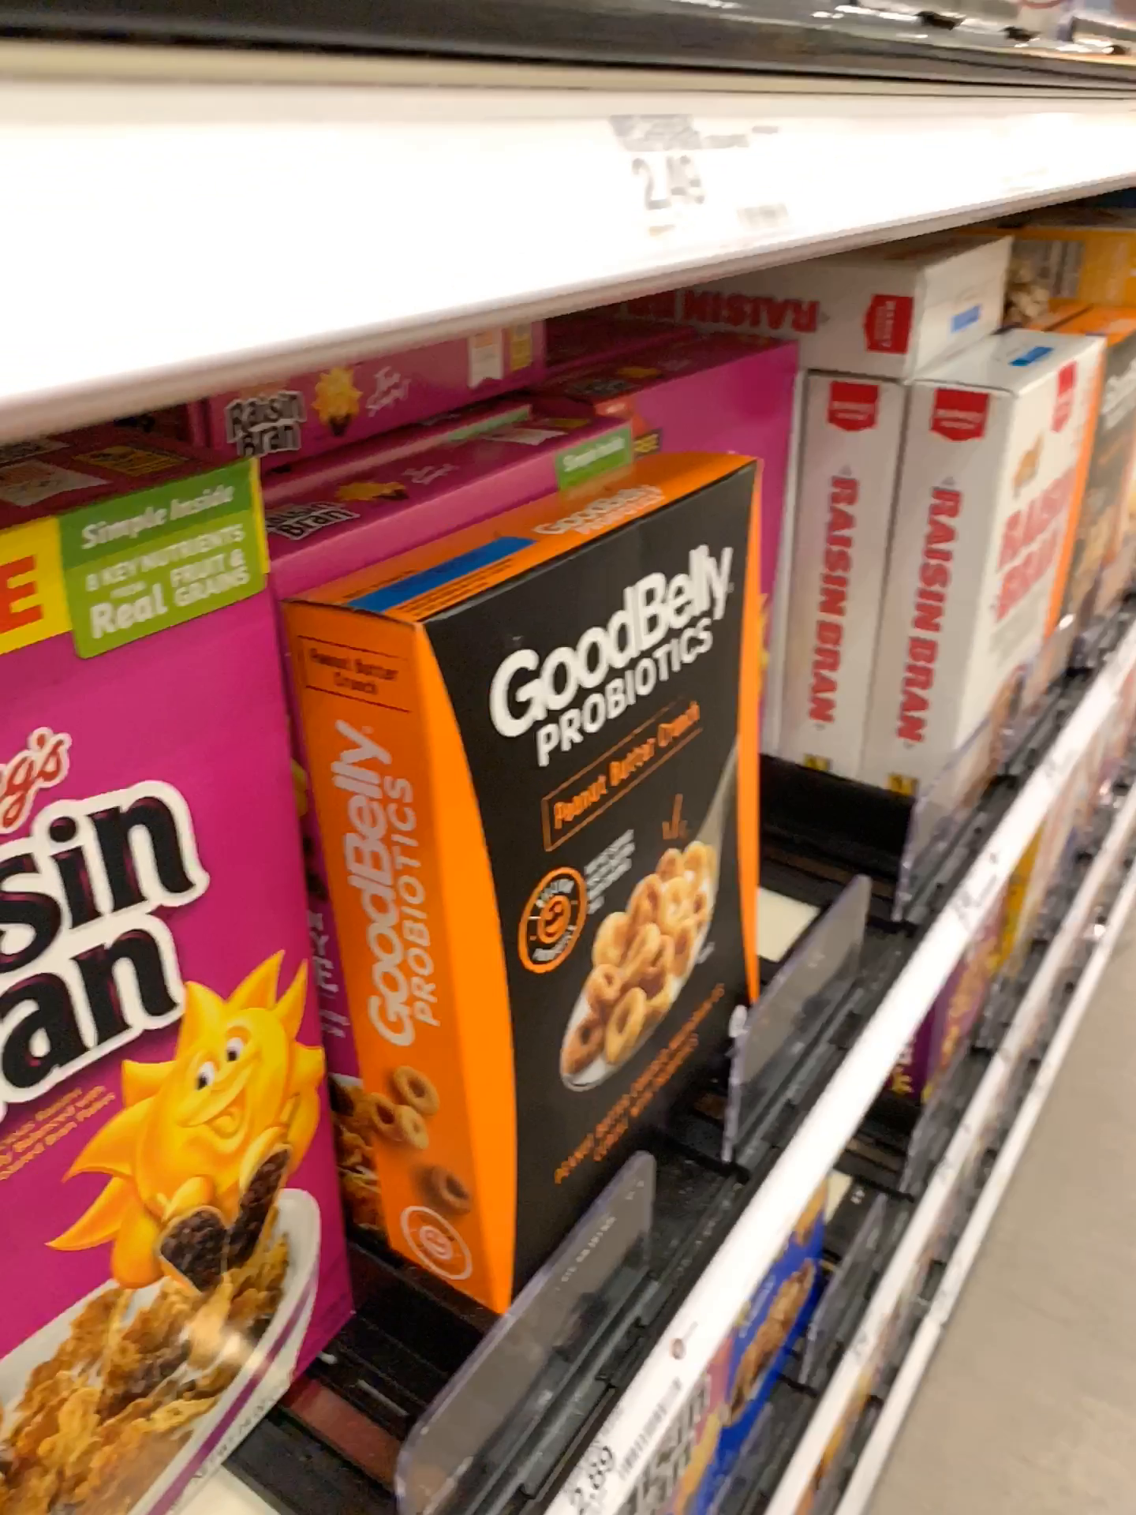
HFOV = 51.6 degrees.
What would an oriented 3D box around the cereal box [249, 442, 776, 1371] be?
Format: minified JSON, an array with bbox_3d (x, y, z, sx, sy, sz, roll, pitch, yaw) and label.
[{"bbox_3d":[0.006,0.038,0.408,0.050,0.249,0.201,11,30,32],"label":"cereal box"}]
